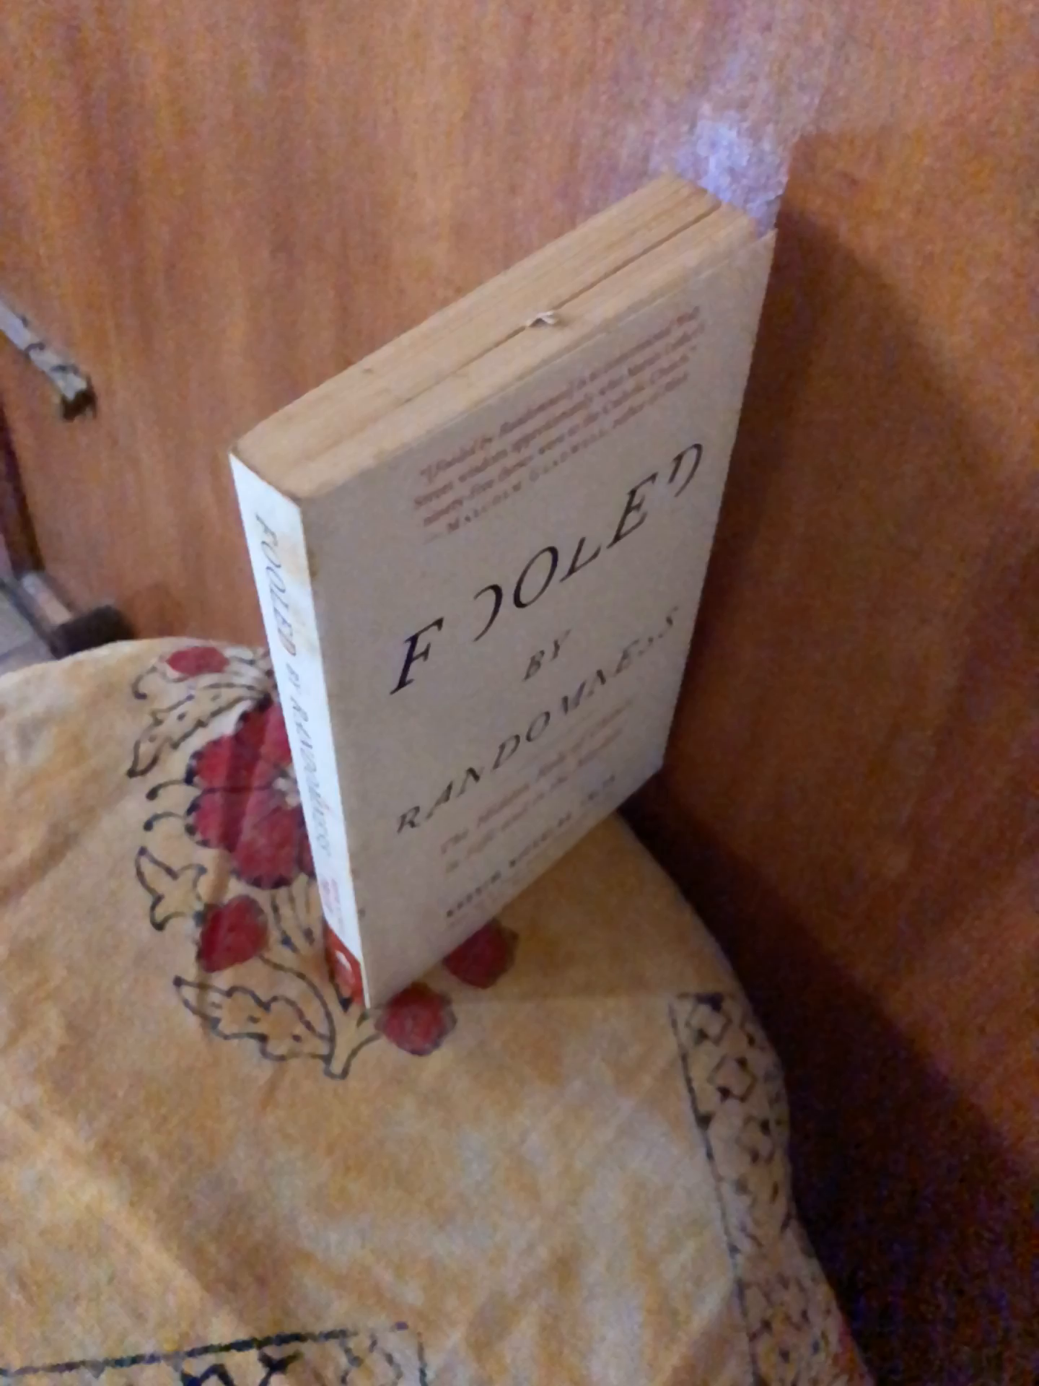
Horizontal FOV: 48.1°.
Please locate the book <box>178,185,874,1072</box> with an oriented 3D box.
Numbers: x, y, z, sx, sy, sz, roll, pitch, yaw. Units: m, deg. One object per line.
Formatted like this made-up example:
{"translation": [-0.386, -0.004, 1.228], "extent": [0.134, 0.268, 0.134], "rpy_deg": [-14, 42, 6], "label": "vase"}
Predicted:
{"translation": [-0.002, -0.009, 0.305], "extent": [0.040, 0.199, 0.160], "rpy_deg": [40, 53, 23], "label": "book"}
